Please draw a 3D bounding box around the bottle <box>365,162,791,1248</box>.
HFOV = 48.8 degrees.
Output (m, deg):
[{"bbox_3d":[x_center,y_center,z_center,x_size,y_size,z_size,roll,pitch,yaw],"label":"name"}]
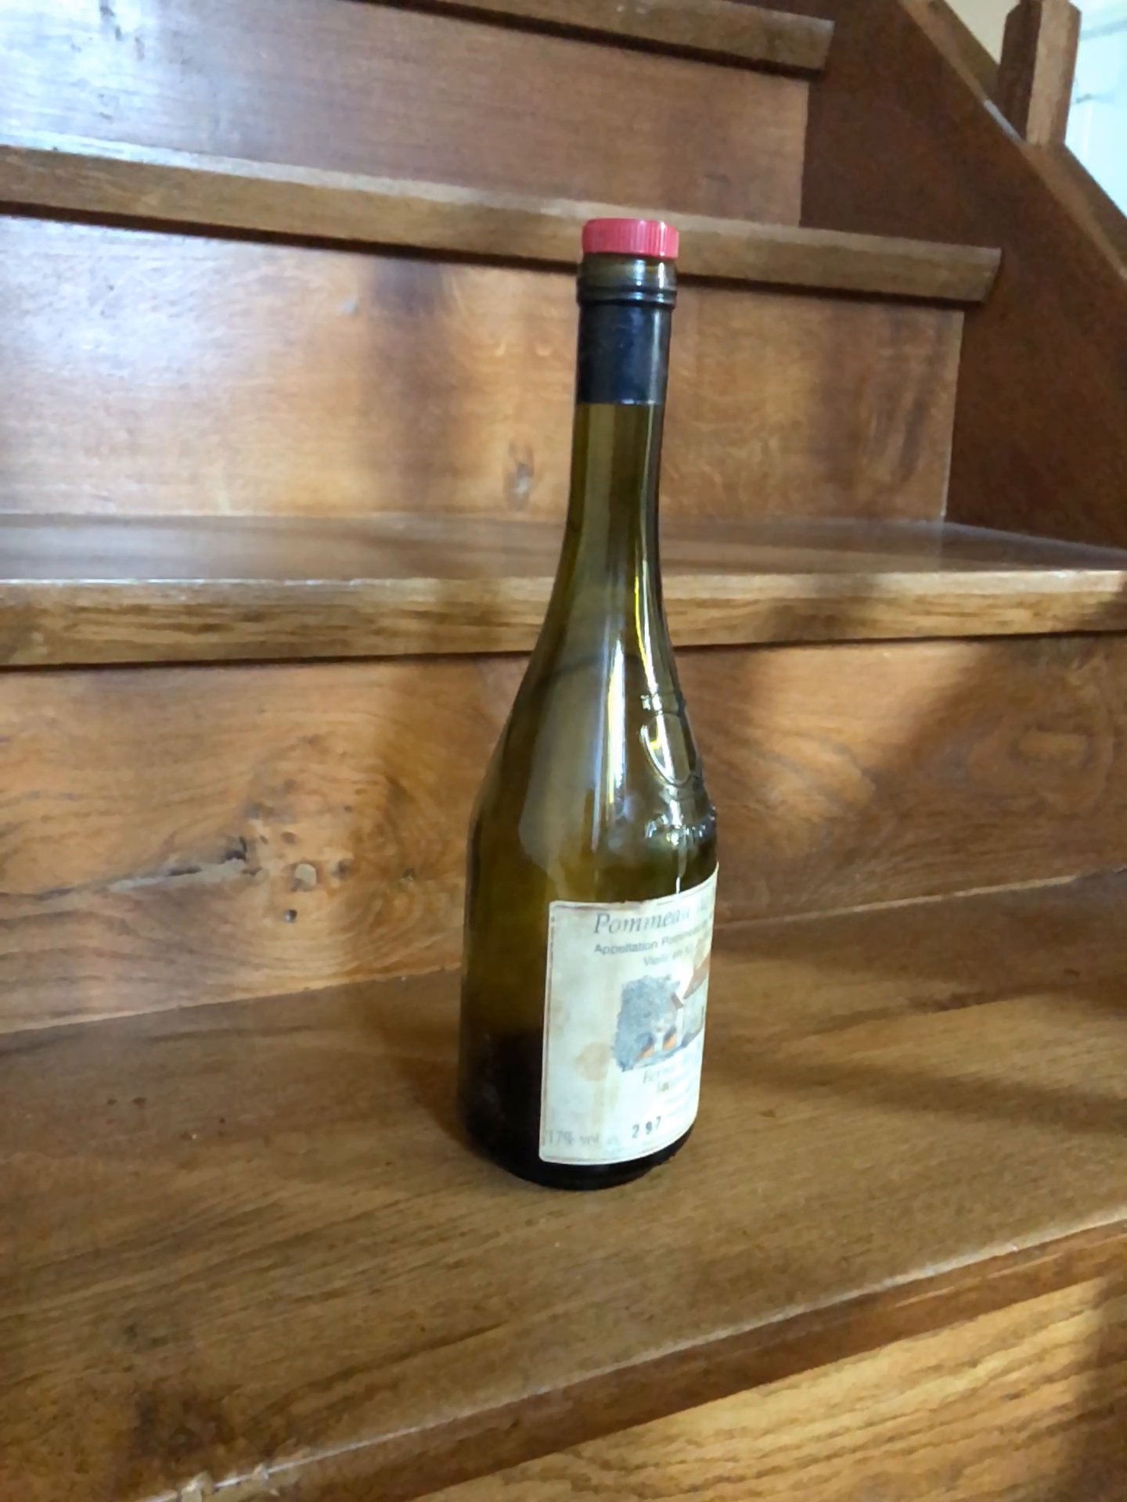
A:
[{"bbox_3d":[0.001,-0.013,0.406,0.090,0.309,0.090,2,14,-1],"label":"bottle"}]
